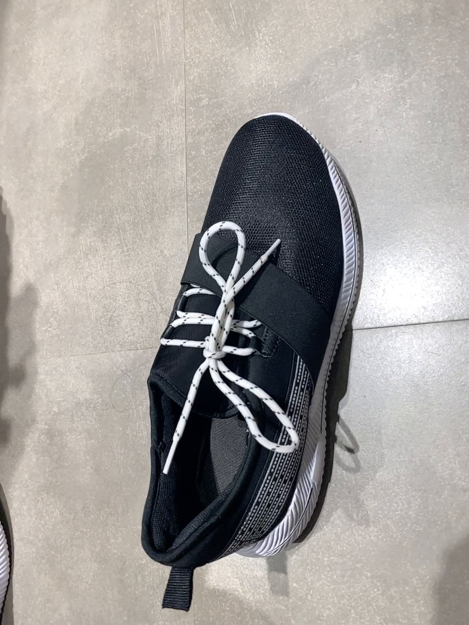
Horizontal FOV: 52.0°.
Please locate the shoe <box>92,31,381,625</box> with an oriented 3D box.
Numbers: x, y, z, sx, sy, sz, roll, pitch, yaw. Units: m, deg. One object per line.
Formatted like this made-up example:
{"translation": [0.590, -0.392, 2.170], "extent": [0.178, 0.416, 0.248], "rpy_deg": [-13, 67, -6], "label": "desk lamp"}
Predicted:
{"translation": [0.016, 0.009, 0.321], "extent": [0.117, 0.132, 0.304], "rpy_deg": [2, 83, 28], "label": "shoe"}
